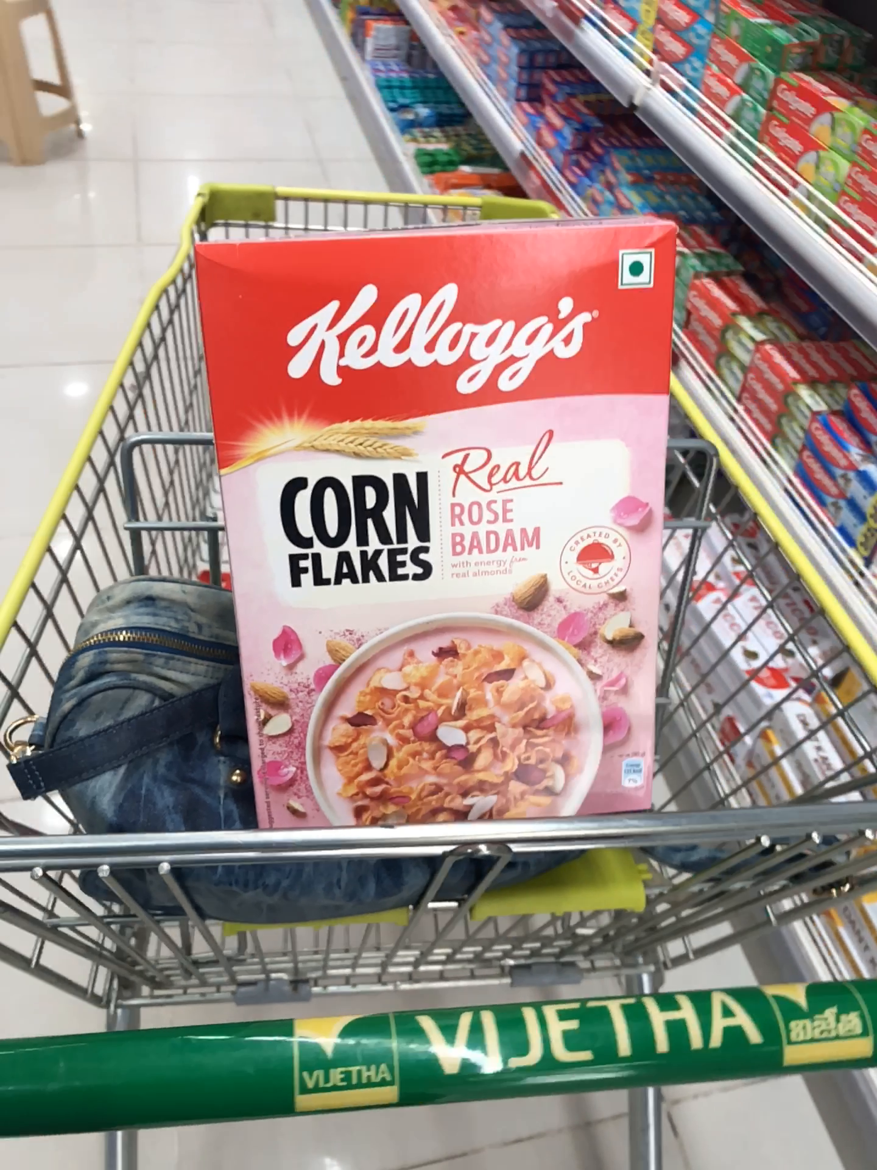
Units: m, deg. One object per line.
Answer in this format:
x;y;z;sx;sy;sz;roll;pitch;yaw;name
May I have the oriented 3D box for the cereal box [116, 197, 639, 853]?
-0.020;-0.021;0.444;0.190;0.279;0.070;-4;25;-6;cereal box
